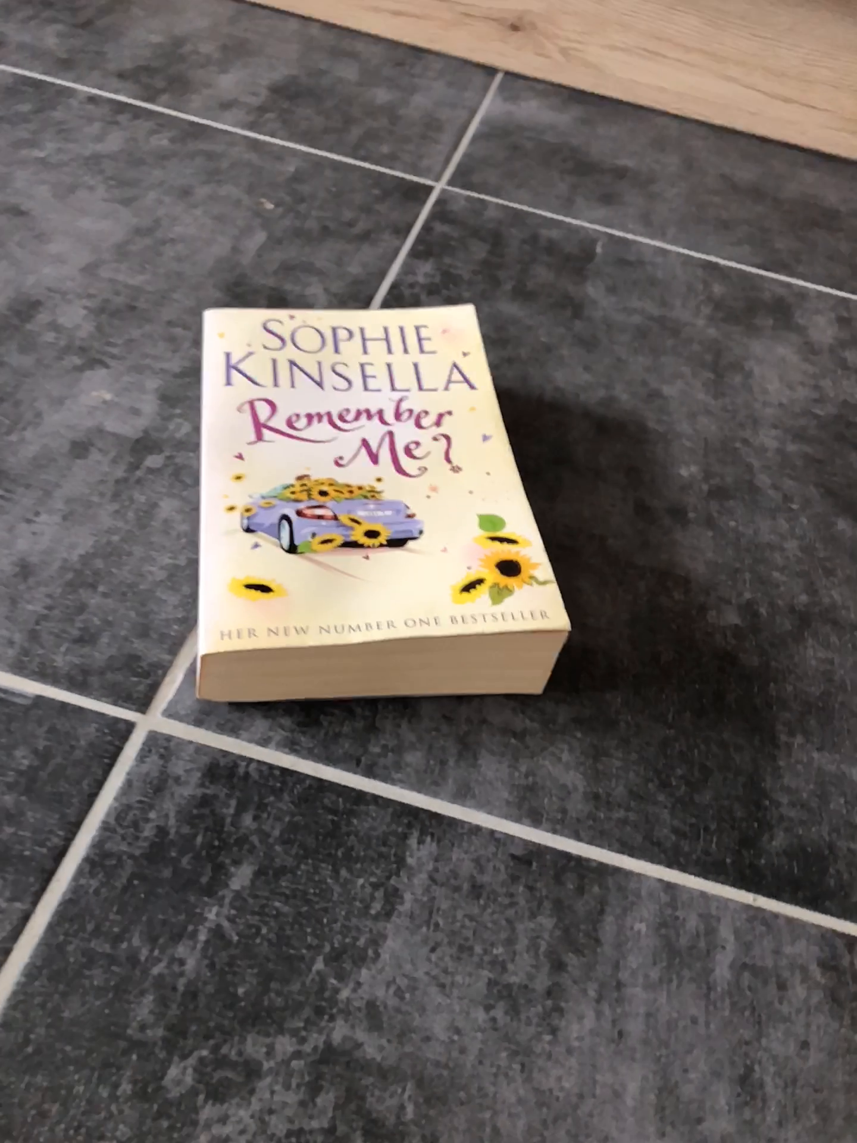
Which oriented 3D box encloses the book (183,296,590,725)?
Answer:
[{"bbox_3d":[-0.027,-0.039,0.381,0.130,0.040,0.201,-3,48,-9],"label":"book"}]
